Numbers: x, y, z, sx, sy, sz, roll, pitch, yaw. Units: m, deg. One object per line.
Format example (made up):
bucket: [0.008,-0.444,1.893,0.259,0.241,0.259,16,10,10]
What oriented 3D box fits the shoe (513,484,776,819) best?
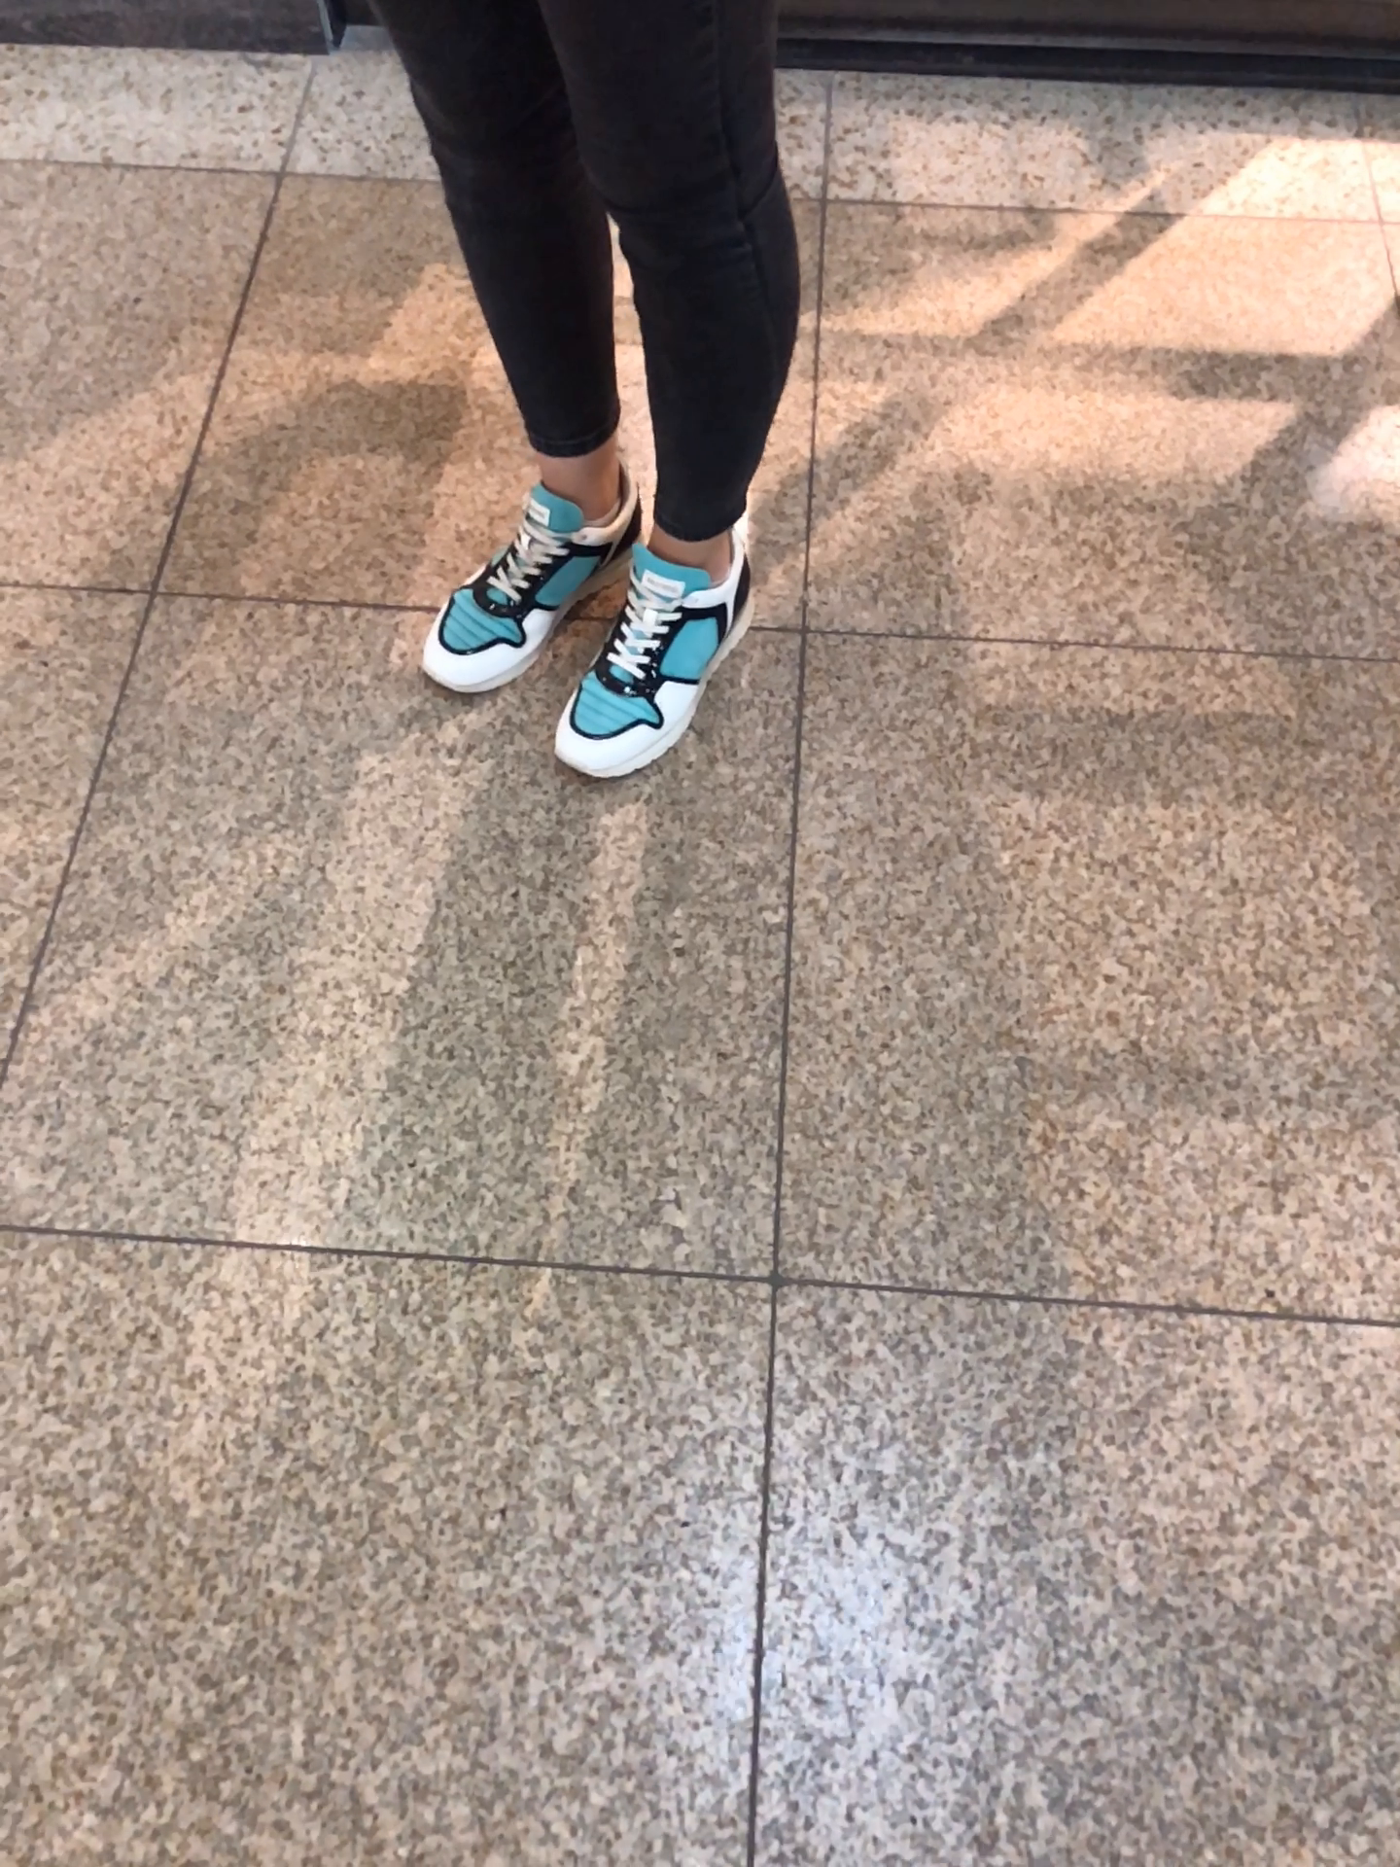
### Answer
shoe: [-0.041,-0.237,1.279,0.100,0.120,0.240,27,64,15]

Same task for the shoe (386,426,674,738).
shoe: [-0.140,-0.306,1.329,0.100,0.120,0.240,36,67,19]
